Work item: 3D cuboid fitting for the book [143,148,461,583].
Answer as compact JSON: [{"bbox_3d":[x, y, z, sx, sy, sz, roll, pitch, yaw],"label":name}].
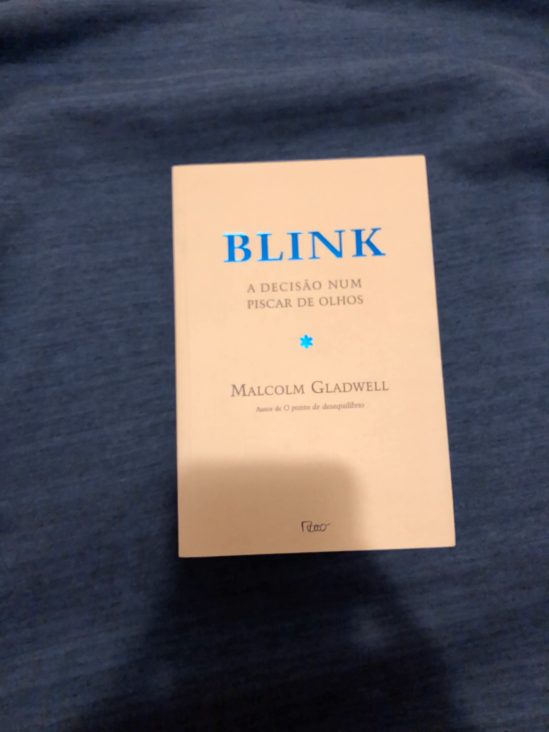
[{"bbox_3d":[0.009,-0.006,0.326,0.150,0.030,0.220,-2,78,-1],"label":"book"}]
